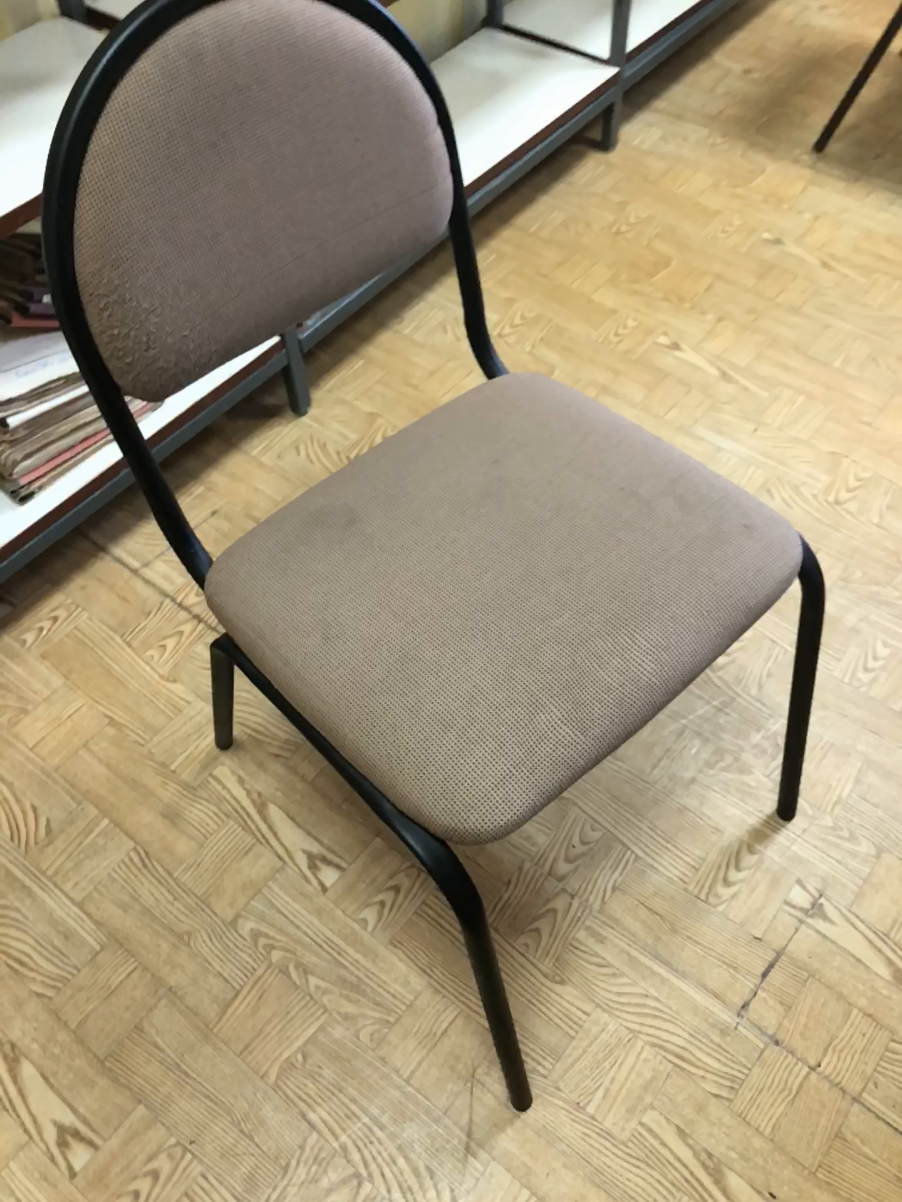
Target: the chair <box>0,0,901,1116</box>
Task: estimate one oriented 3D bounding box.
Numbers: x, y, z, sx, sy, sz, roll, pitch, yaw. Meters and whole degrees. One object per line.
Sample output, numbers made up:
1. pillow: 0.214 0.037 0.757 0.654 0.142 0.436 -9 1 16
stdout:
1. chair: 0.030 -0.037 0.846 0.479 0.768 0.575 -37 62 -22
